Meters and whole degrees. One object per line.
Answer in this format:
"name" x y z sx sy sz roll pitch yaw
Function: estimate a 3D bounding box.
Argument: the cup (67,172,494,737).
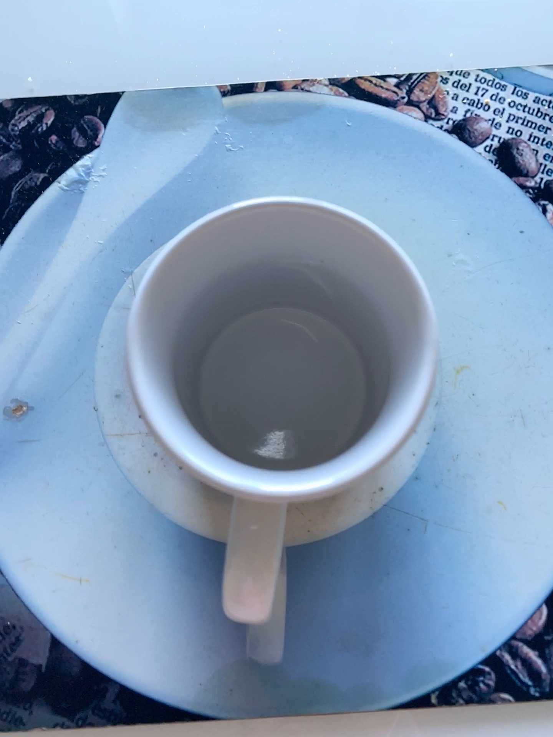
"cup" 0.005 0.023 0.184 0.094 0.077 0.133 7 80 2
